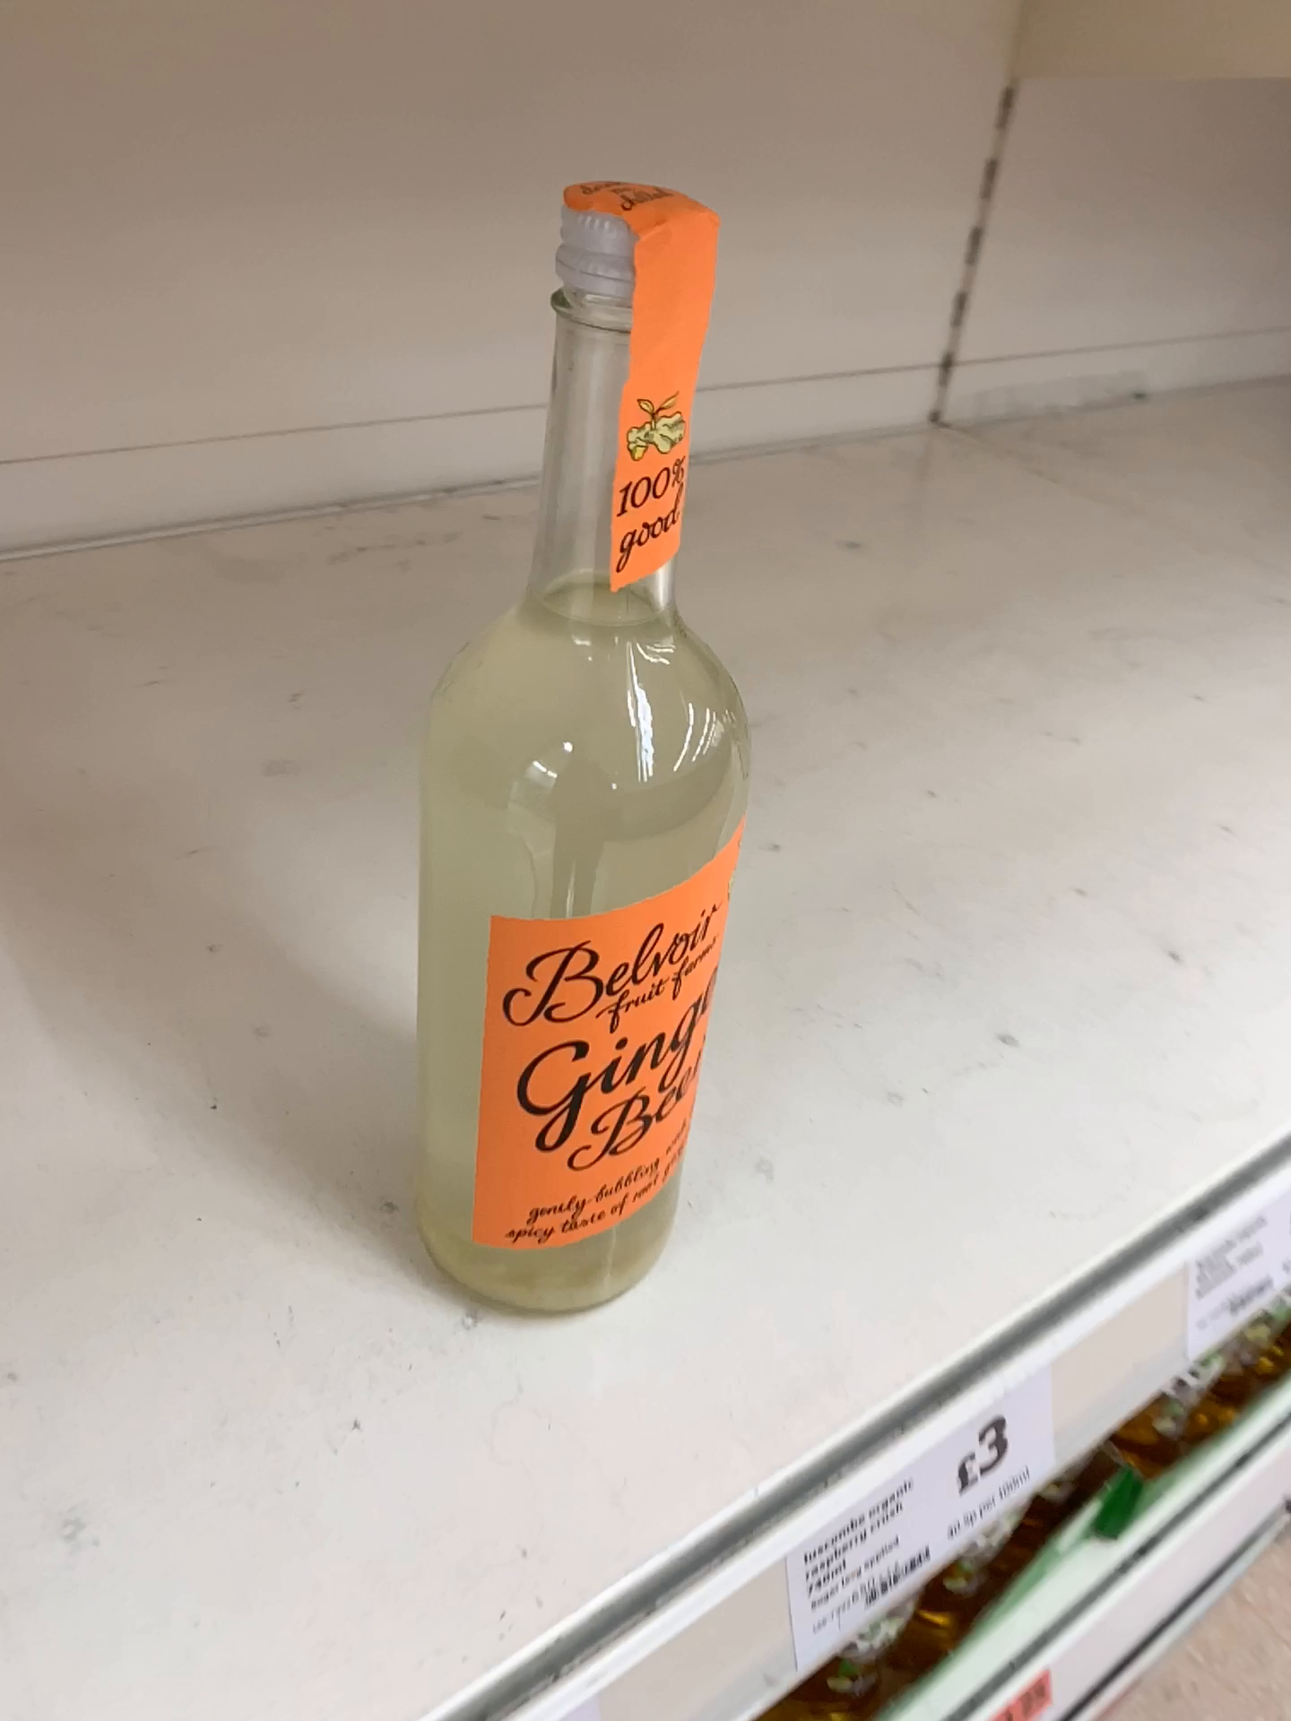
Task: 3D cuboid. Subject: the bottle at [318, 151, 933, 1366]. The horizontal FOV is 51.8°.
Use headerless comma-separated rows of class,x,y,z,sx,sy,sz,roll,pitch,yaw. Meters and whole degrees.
bottle,-0.021,-0.011,0.329,0.084,0.277,0.091,5,34,-3
